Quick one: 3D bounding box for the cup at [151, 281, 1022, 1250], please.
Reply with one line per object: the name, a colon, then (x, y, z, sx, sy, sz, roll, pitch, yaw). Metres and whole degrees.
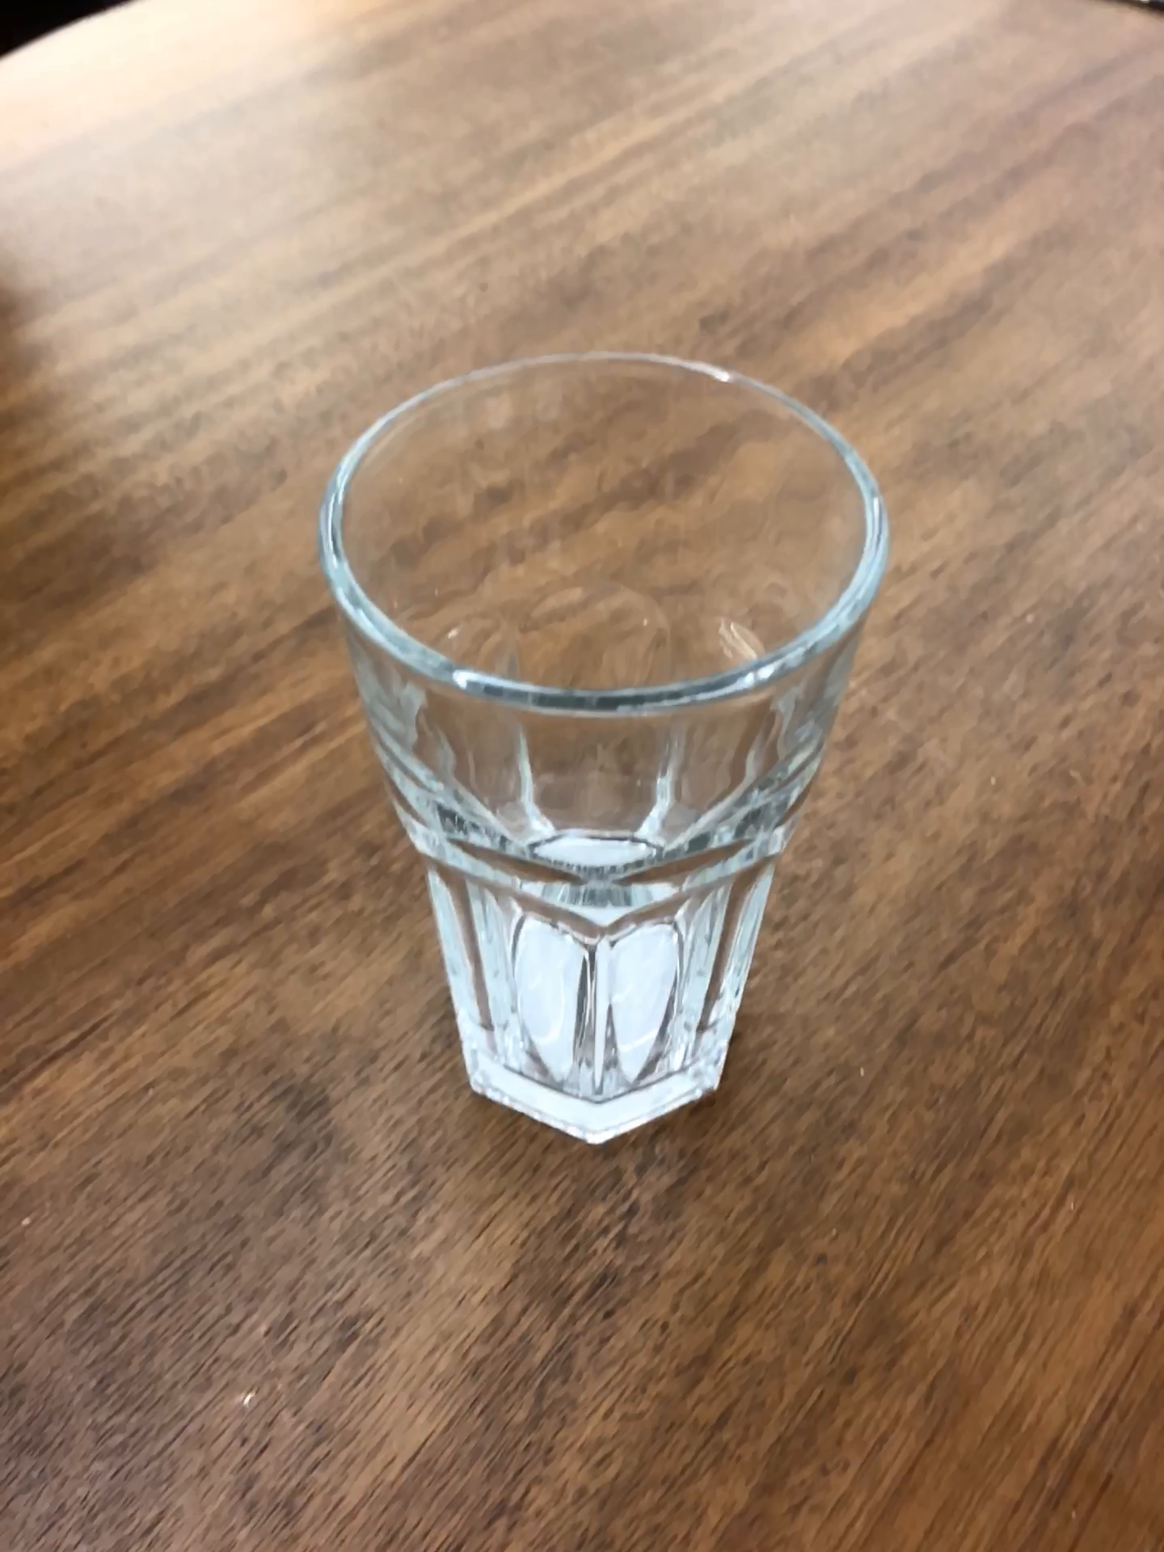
cup: (0.000, 0.000, 0.185, 0.072, 0.095, 0.070, 0, 49, 0)
